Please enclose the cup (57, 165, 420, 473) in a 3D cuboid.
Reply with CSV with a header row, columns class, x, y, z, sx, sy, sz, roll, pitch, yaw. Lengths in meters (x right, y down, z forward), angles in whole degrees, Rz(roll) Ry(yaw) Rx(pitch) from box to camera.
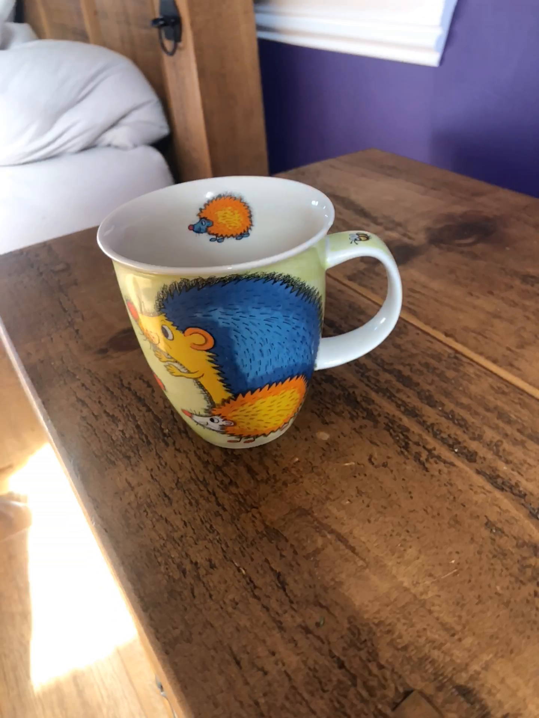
class,x,y,z,sx,sy,sz,roll,pitch,yaw
cup,-0.010,-0.023,0.279,0.127,0.089,0.107,-5,34,0
